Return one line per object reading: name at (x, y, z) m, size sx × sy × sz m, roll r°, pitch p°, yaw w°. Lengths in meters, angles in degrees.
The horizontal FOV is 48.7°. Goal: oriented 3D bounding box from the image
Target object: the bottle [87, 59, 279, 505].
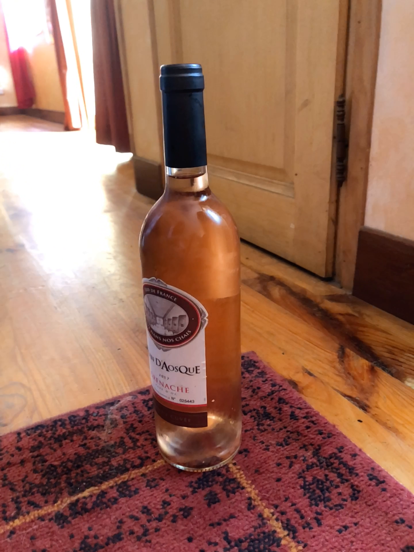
bottle at (-0.006, 0.010, 0.345) m, size 0.090 × 0.308 × 0.080 m, roll 14°, pitch 28°, yaw 35°
